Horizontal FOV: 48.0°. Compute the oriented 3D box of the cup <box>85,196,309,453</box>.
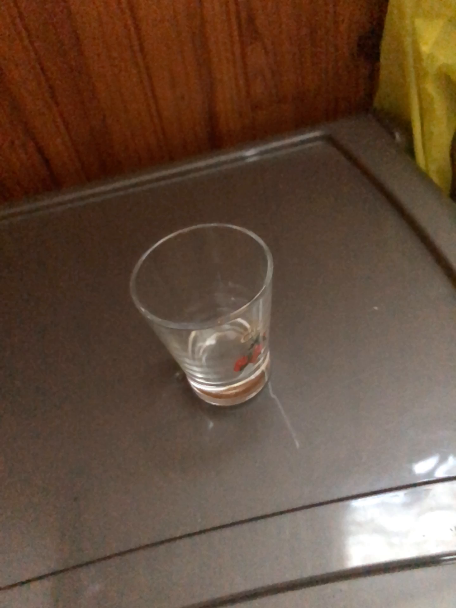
[{"bbox_3d":[-0.007,0.009,0.227,0.060,0.080,0.060,-6,47,7],"label":"cup"}]
